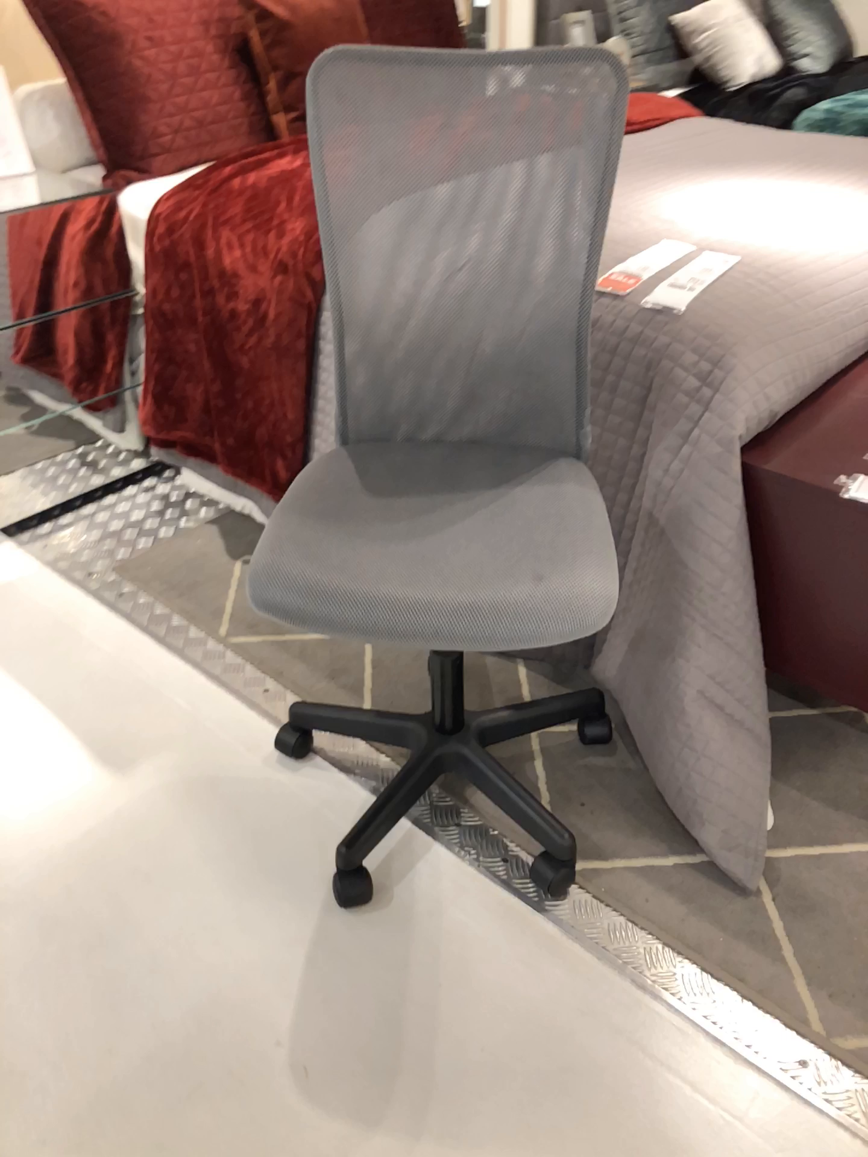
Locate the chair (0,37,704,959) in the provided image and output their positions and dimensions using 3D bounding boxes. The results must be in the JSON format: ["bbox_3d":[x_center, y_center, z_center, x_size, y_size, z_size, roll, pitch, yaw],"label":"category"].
[{"bbox_3d":[-0.005,-0.128,1.238,0.560,0.942,0.645,7,35,13],"label":"chair"}]
